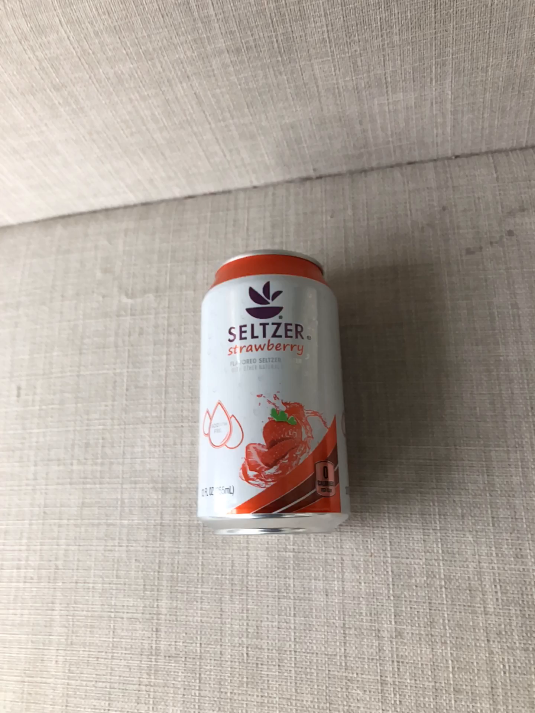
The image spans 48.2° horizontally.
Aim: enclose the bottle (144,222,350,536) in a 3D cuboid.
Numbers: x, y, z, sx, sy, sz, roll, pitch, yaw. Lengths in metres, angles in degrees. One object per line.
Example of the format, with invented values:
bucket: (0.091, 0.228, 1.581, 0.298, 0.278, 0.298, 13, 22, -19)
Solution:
bottle: (-0.005, 0.015, 0.265, 0.070, 0.070, 0.120, -4, 75, 12)
